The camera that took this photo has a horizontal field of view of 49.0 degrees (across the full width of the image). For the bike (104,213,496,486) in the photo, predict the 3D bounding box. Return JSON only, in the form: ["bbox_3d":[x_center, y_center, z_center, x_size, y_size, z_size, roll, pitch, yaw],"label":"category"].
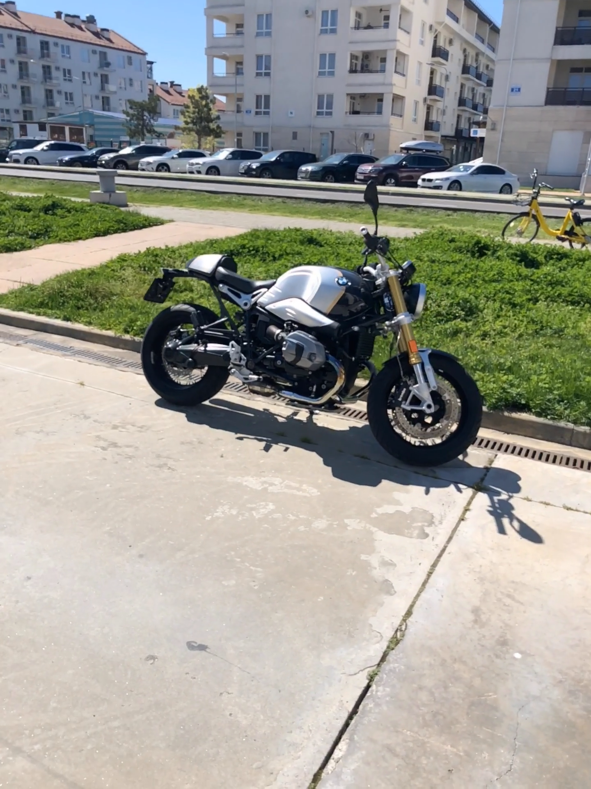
[{"bbox_3d":[-0.017,-0.350,3.671,2.069,1.123,0.649,10,21,19],"label":"bike"}]
